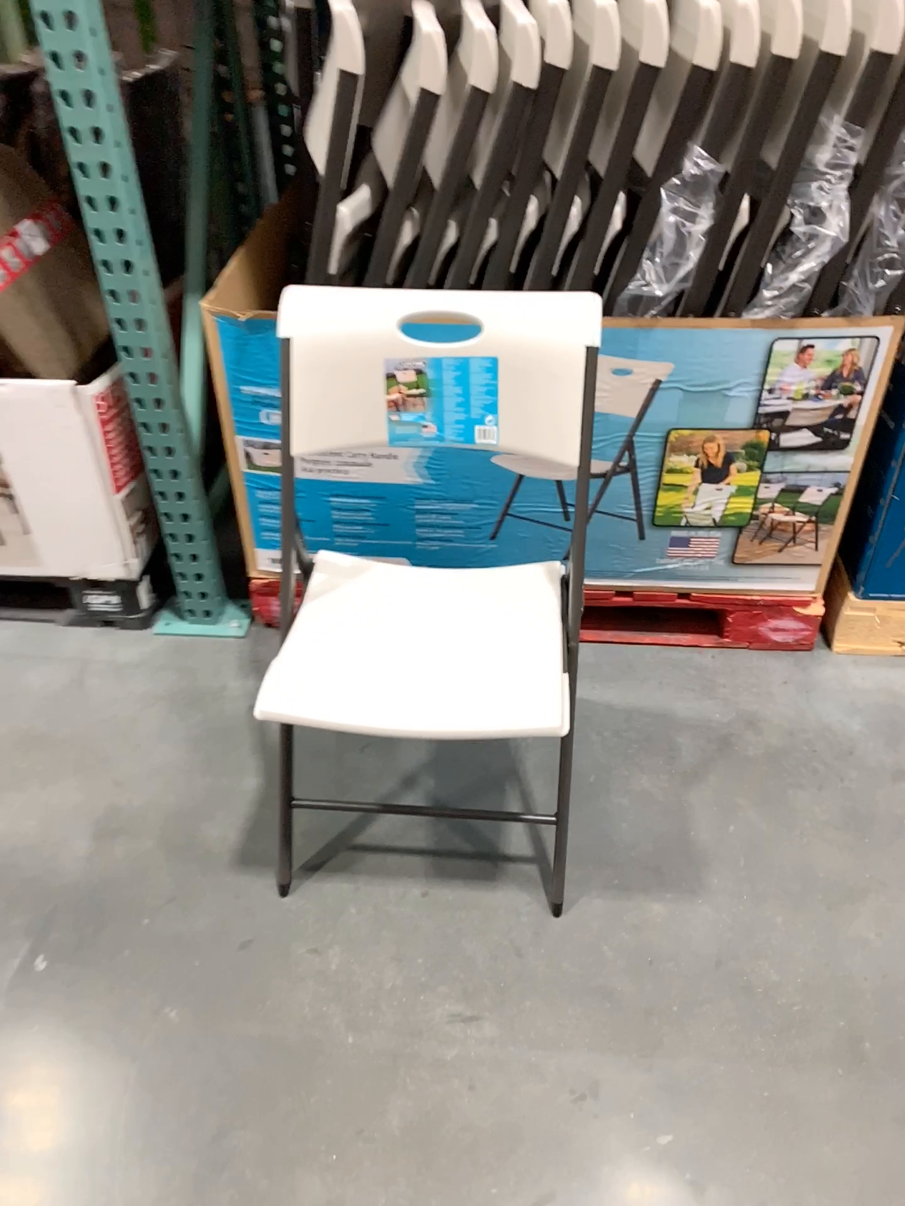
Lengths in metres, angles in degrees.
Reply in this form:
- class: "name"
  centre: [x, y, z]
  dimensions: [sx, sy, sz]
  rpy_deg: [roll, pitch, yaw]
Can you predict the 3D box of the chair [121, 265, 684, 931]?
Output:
- class: "chair"
  centre: [-0.033, -0.004, 1.391]
  dimensions: [0.565, 0.805, 0.577]
  rpy_deg: [2, 39, 3]
